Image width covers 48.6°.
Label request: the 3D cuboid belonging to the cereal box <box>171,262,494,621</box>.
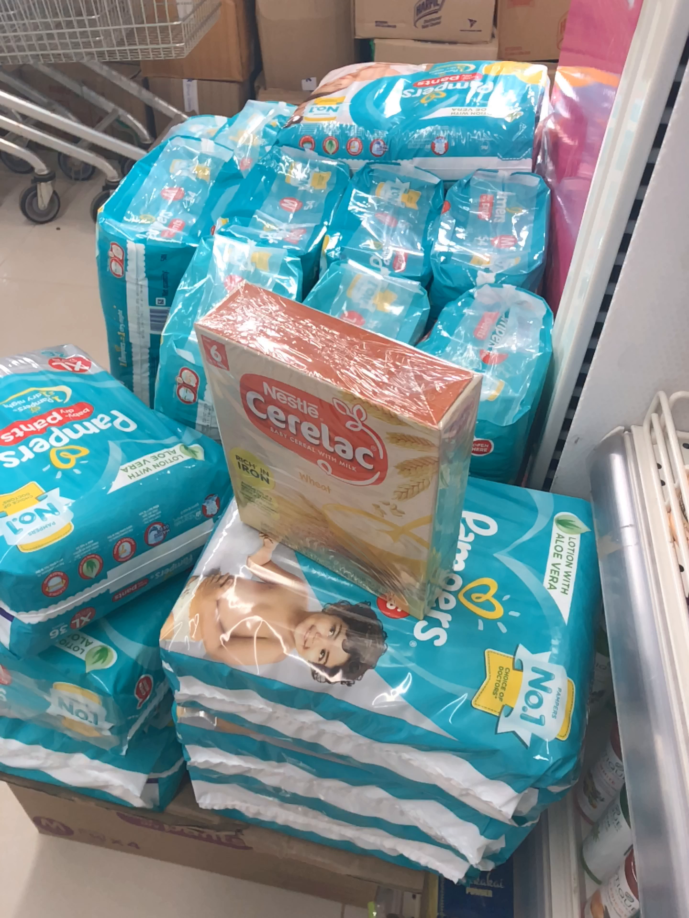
[{"bbox_3d":[-0.007,-0.004,0.450,0.160,0.179,0.050,25,56,21],"label":"cereal box"}]
